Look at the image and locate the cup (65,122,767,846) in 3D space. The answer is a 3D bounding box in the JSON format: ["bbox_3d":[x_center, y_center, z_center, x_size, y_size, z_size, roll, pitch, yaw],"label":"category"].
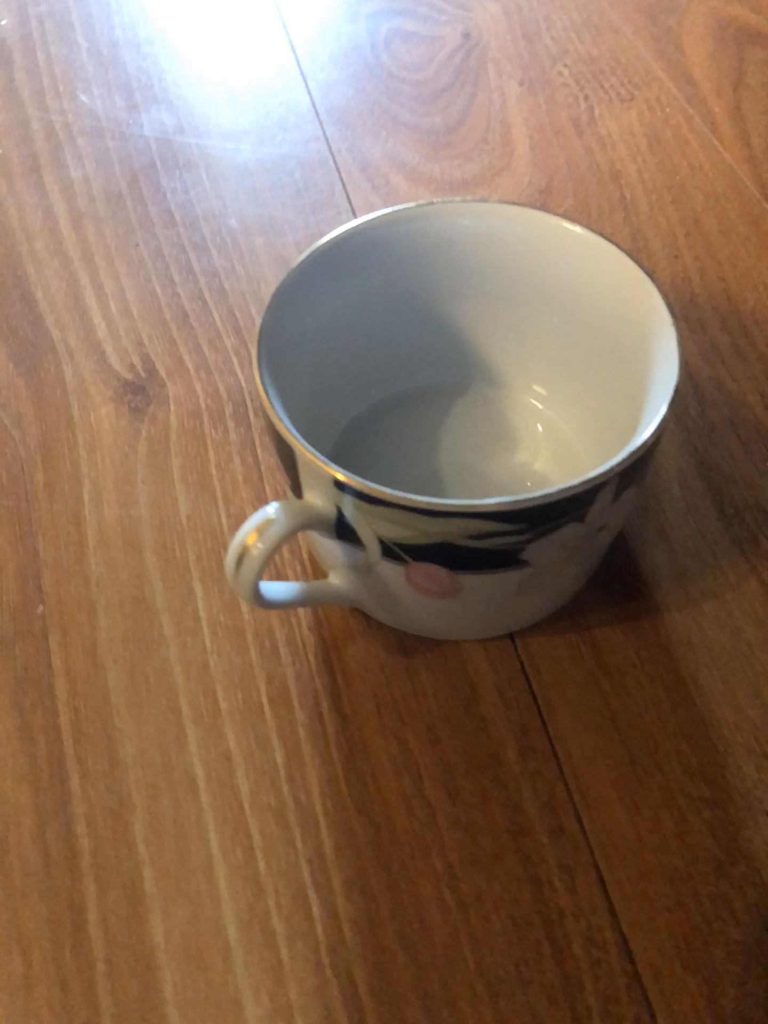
[{"bbox_3d":[0.015,-0.012,0.178,0.090,0.060,0.110,37,66,24],"label":"cup"}]
